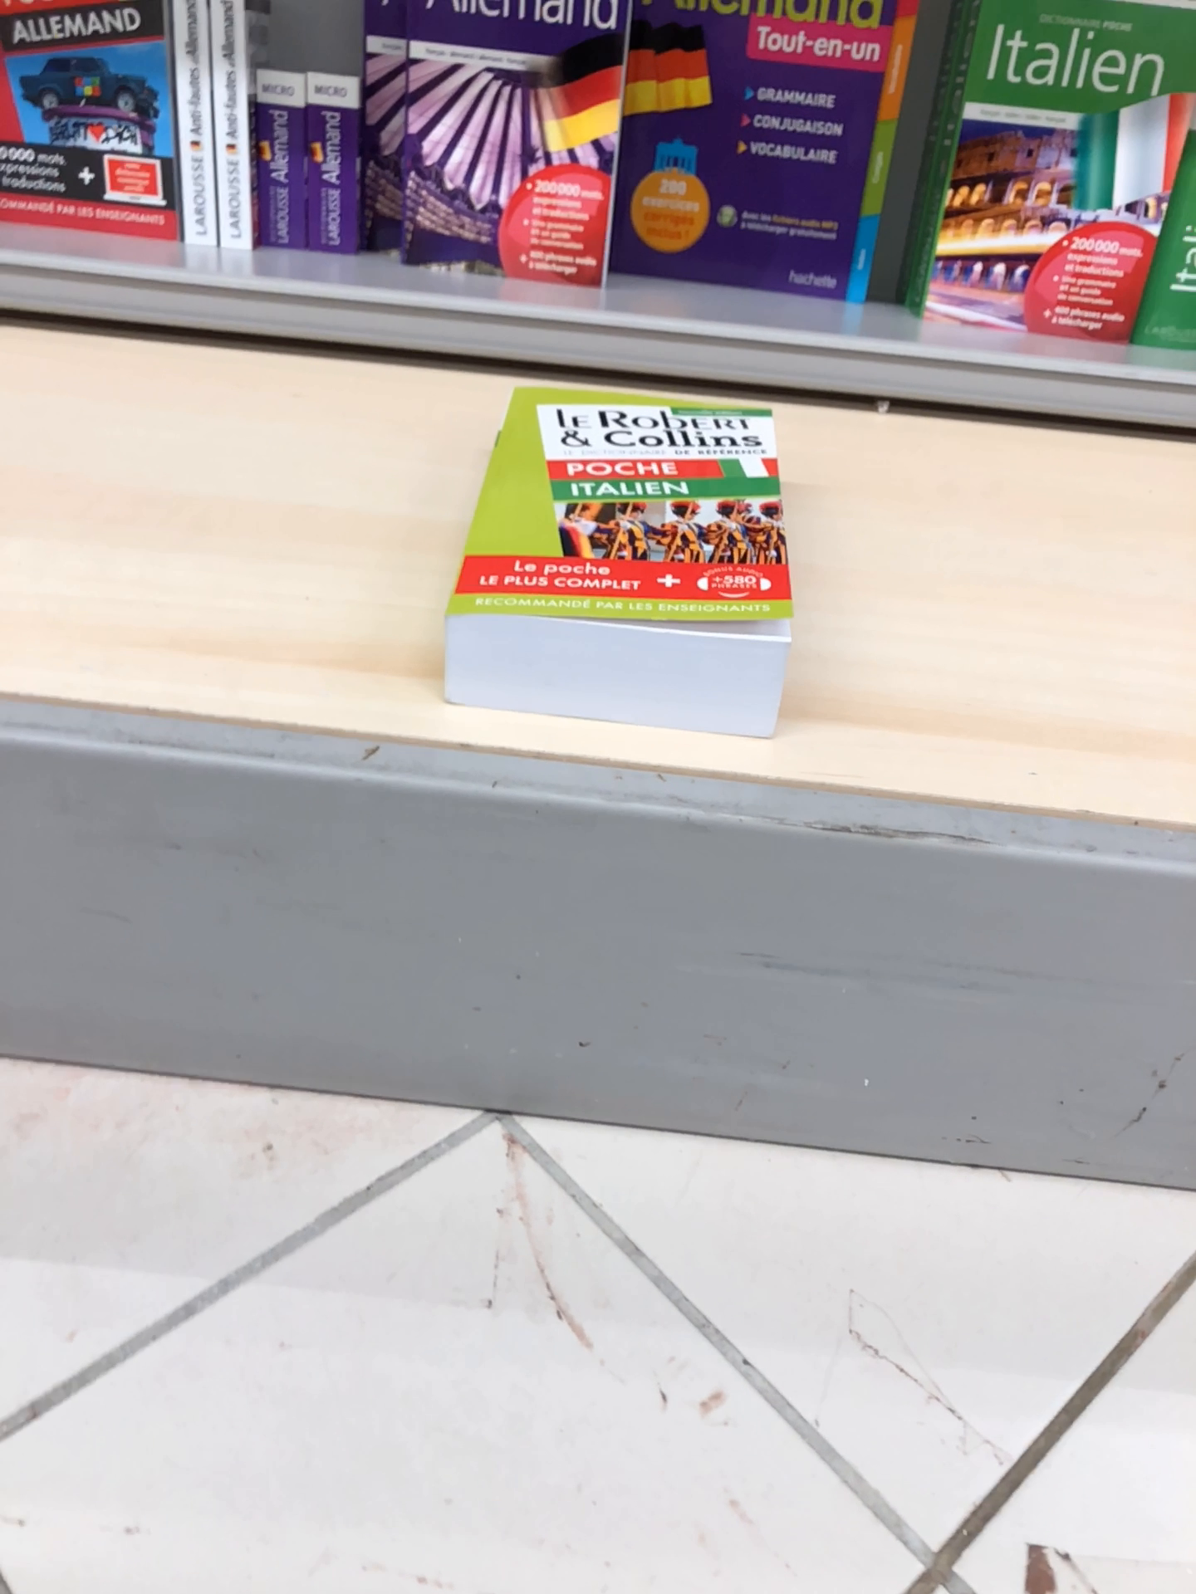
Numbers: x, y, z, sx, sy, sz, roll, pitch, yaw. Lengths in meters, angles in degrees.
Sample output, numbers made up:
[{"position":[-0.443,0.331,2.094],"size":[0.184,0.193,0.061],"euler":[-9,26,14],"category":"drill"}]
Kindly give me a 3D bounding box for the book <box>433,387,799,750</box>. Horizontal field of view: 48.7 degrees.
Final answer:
[{"position":[0.009,-0.090,0.477],"size":[0.110,0.040,0.176],"euler":[6,38,-1],"category":"book"}]
